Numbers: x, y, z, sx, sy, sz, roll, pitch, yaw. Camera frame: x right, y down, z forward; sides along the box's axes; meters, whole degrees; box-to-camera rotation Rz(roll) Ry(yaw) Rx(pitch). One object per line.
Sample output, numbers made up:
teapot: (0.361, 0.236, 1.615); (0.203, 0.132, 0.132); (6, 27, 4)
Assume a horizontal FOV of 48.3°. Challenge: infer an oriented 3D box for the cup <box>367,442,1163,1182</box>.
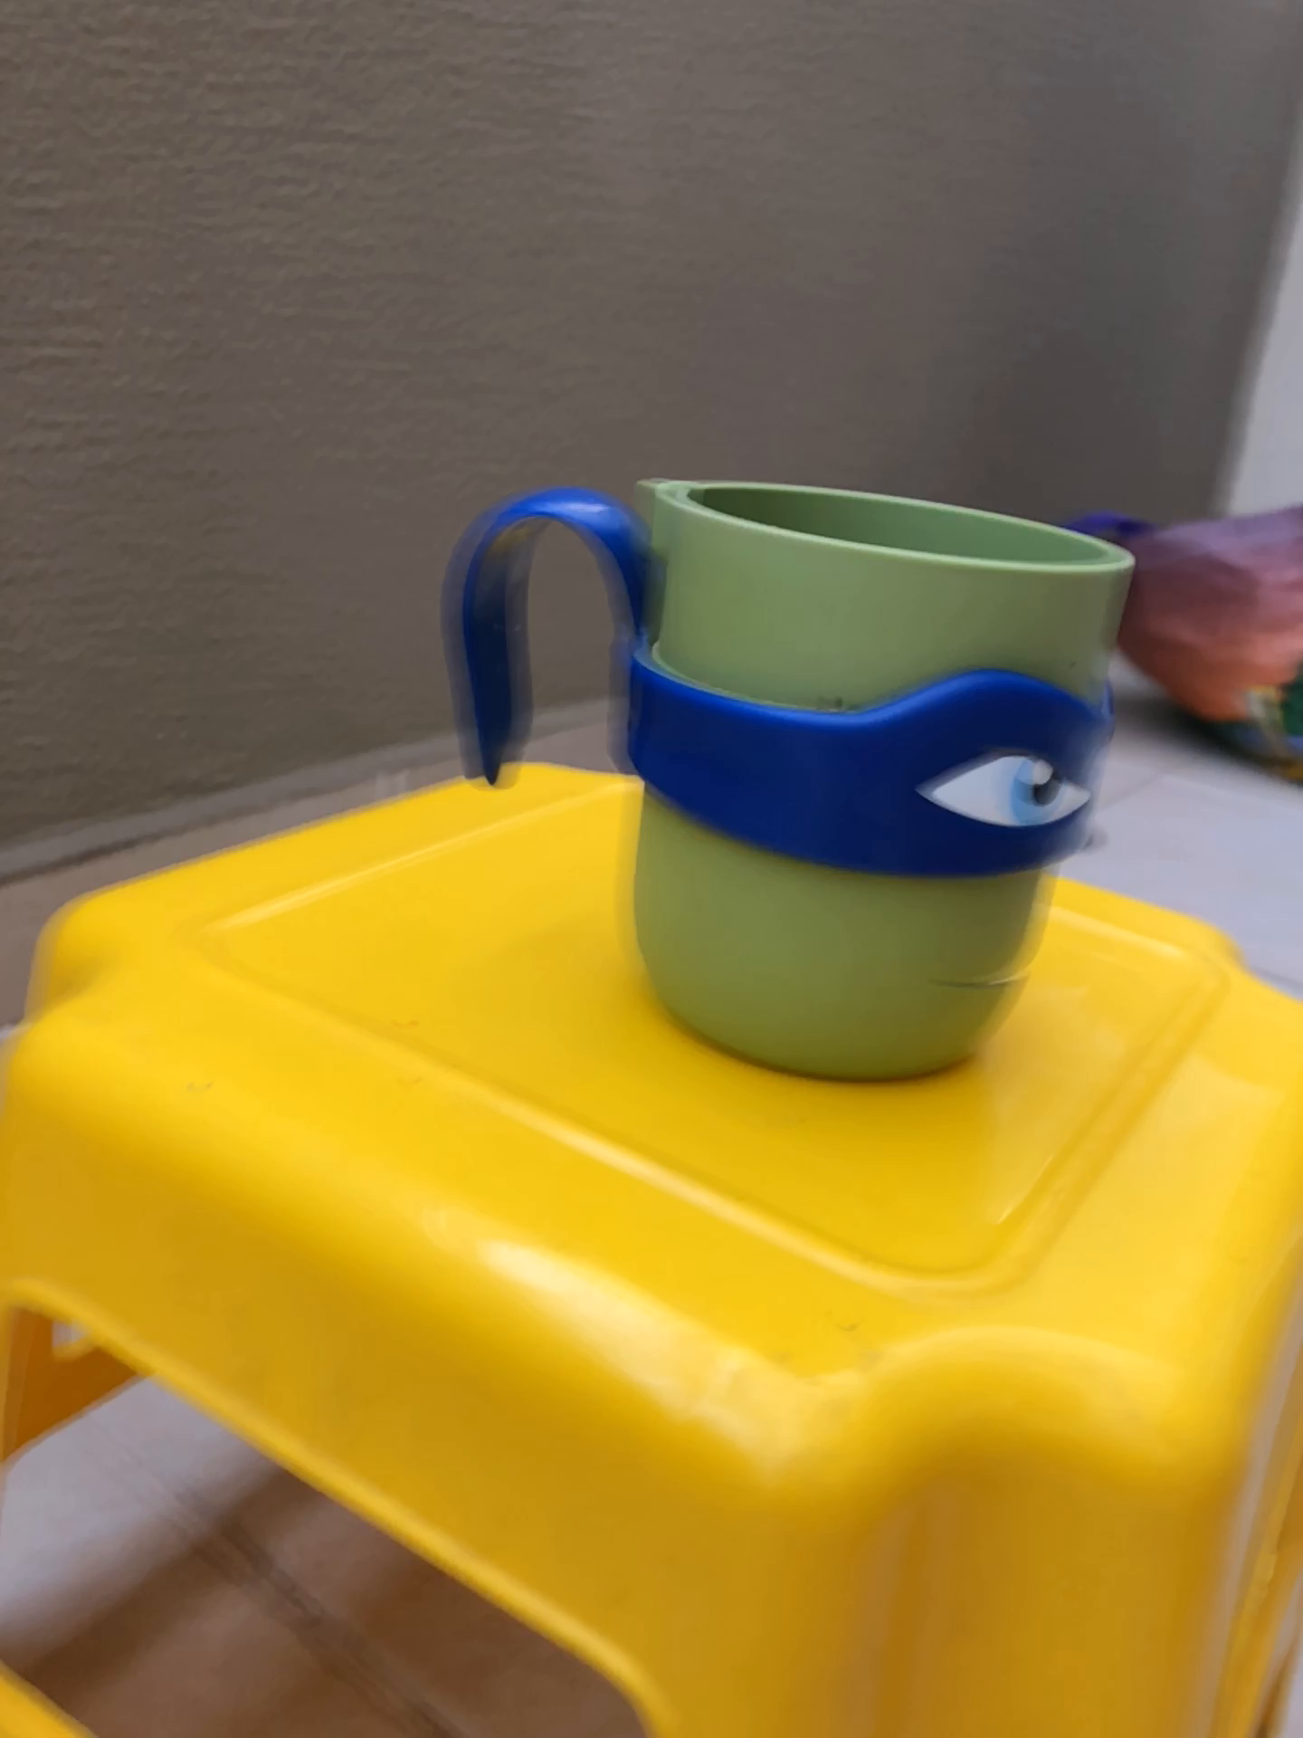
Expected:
cup: (0.021, -0.019, 0.256); (0.110, 0.089, 0.080); (14, 22, 18)
